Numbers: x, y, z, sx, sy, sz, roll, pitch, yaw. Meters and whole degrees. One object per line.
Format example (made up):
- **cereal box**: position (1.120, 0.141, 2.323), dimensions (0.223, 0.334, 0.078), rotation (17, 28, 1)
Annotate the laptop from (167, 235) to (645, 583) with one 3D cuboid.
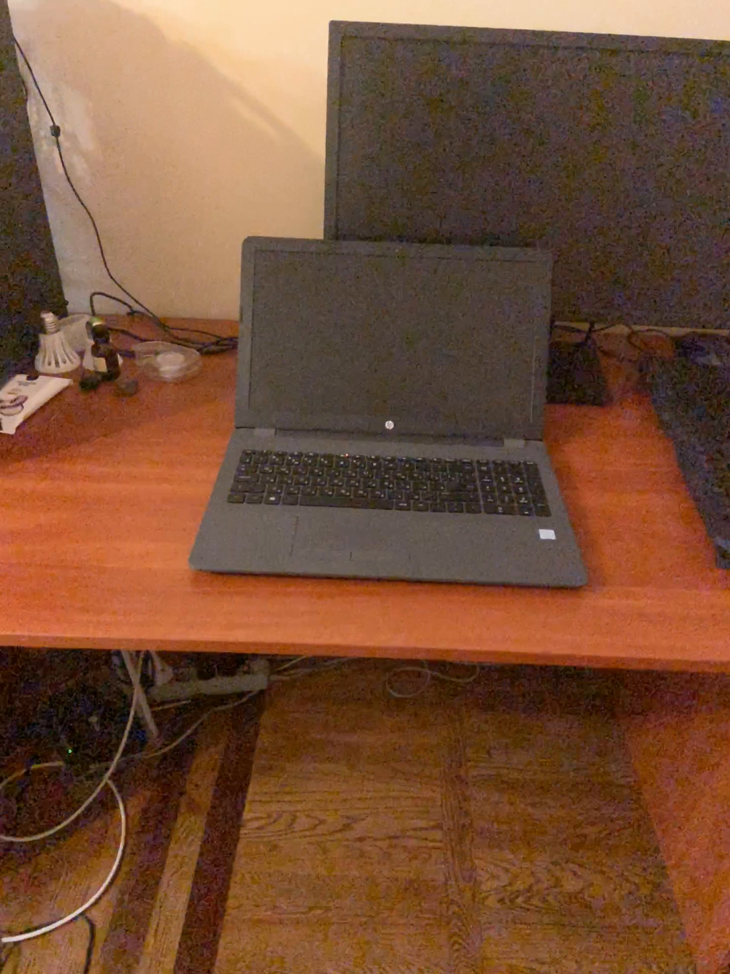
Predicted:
- **laptop**: position (0.032, -0.108, 0.789), dimensions (0.372, 0.188, 0.394), rotation (2, 34, -1)
